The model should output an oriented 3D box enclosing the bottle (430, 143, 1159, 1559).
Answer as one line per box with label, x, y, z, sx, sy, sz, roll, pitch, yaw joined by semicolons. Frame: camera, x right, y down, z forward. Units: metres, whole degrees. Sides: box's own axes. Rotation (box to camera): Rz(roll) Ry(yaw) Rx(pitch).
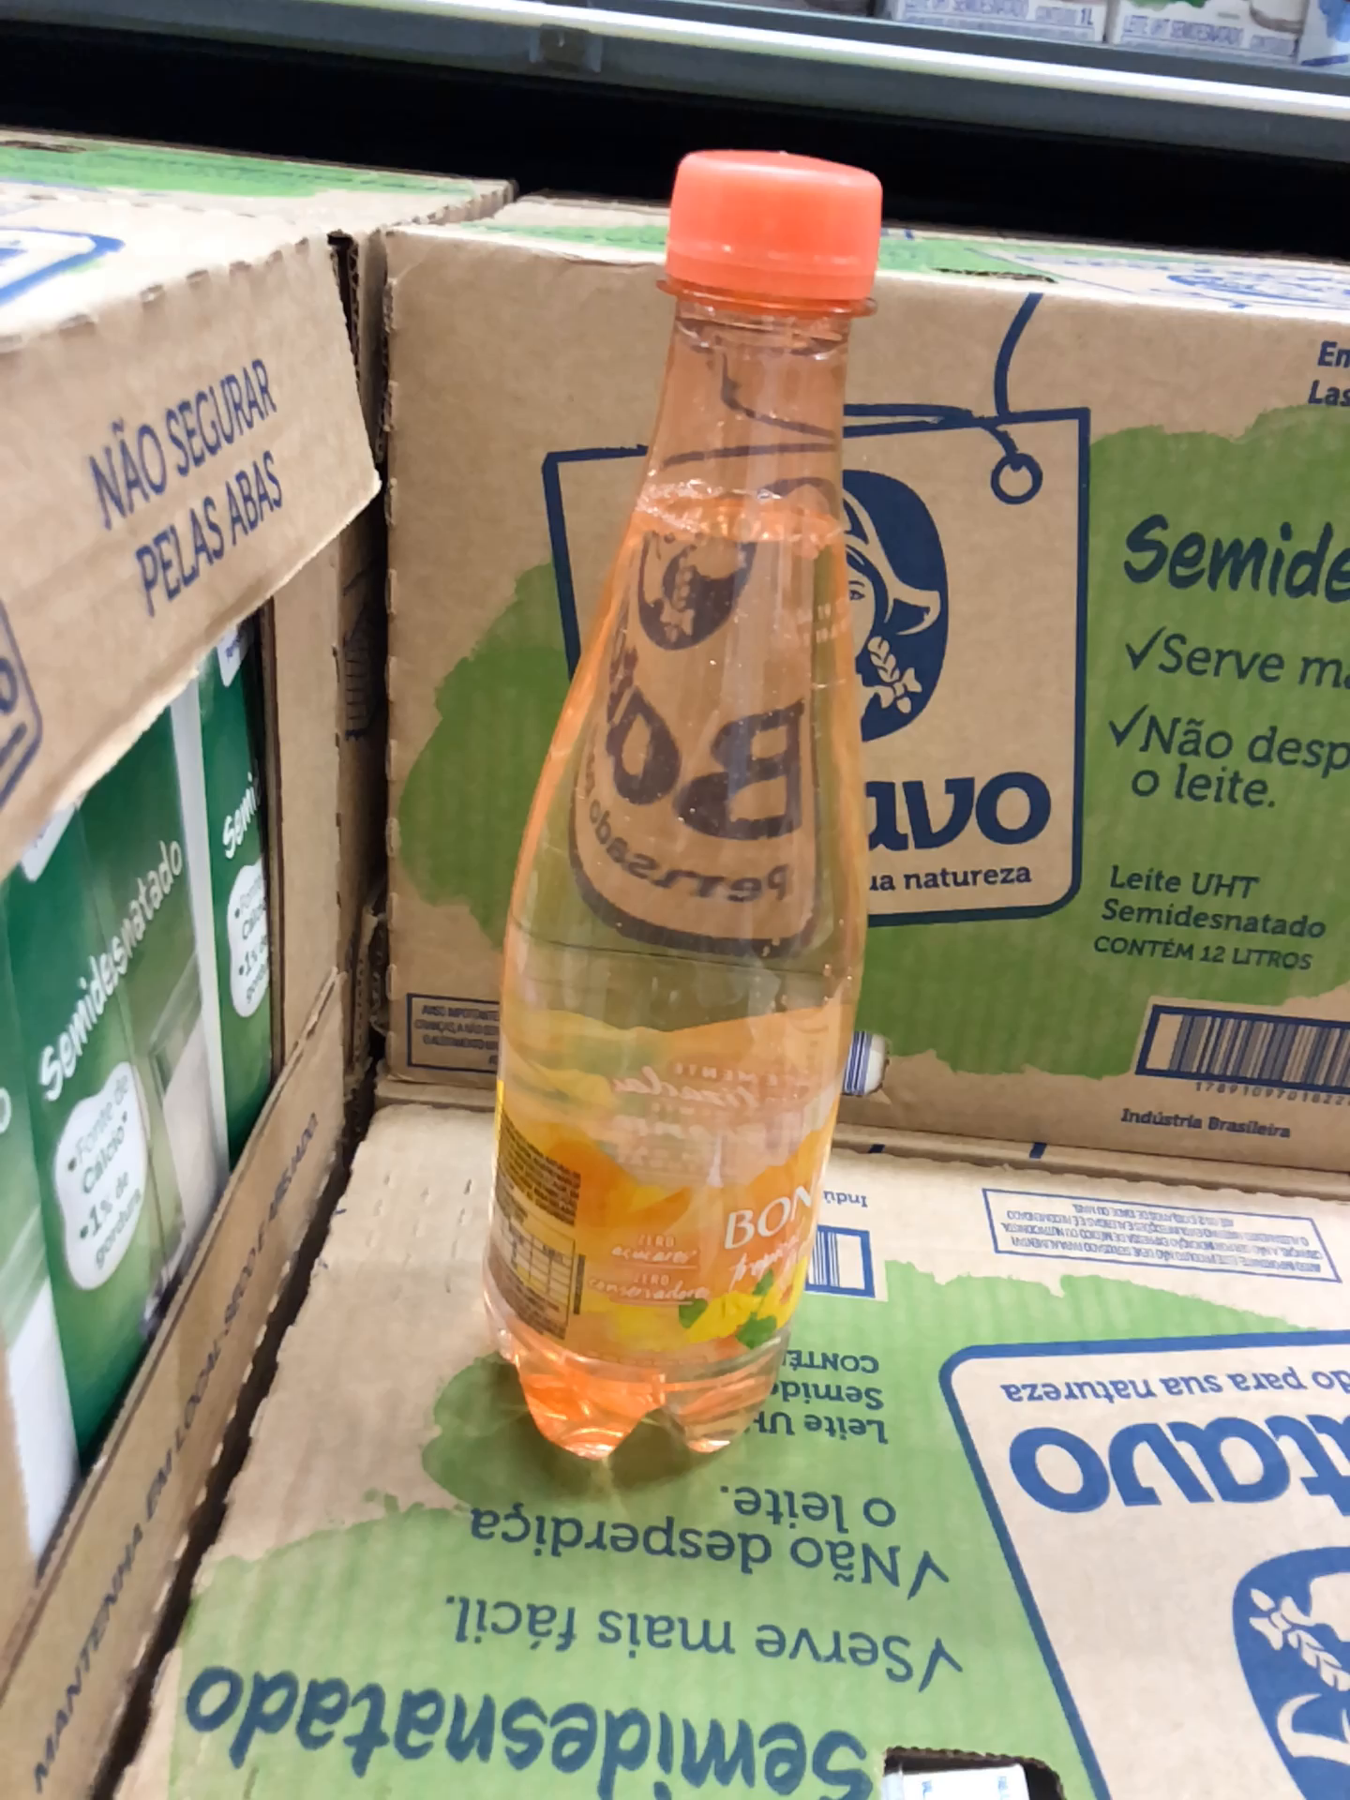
bottle;0.012;-0.005;0.273;0.070;0.228;0.080;23;31;30
